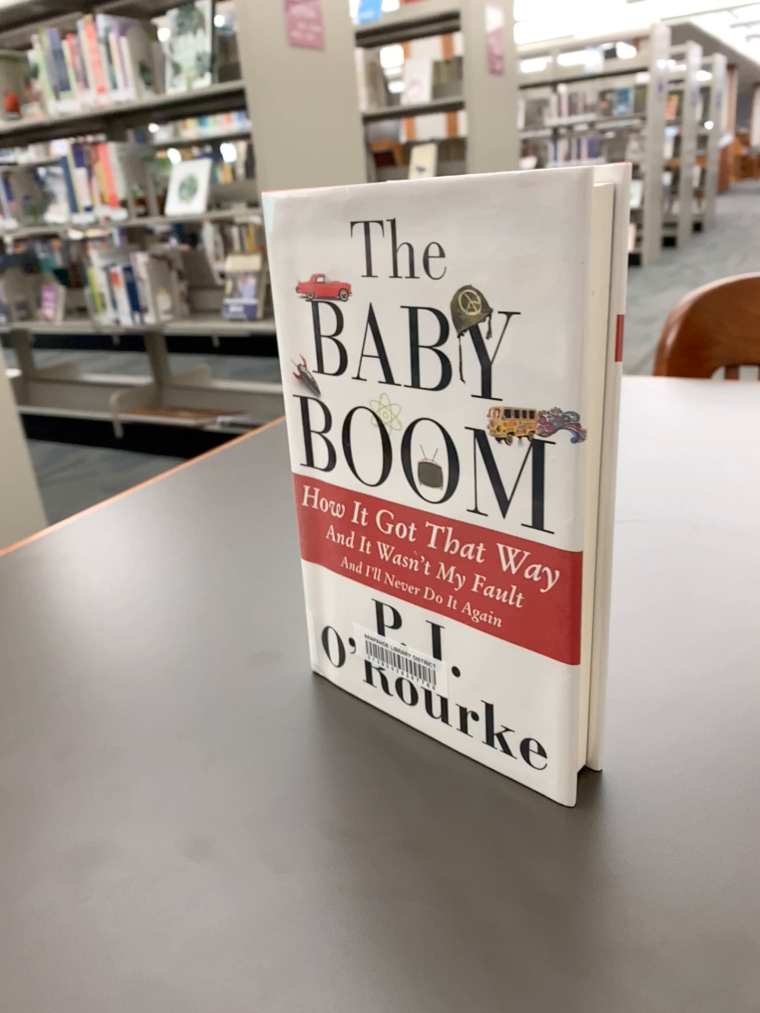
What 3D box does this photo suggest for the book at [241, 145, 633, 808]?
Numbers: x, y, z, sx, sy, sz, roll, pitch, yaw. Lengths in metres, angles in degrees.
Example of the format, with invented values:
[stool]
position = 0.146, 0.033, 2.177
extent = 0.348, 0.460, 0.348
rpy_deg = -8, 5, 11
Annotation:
[book]
position = 0.016, -0.014, 0.325
extent = 0.160, 0.231, 0.030
rpy_deg = 15, 27, 42
